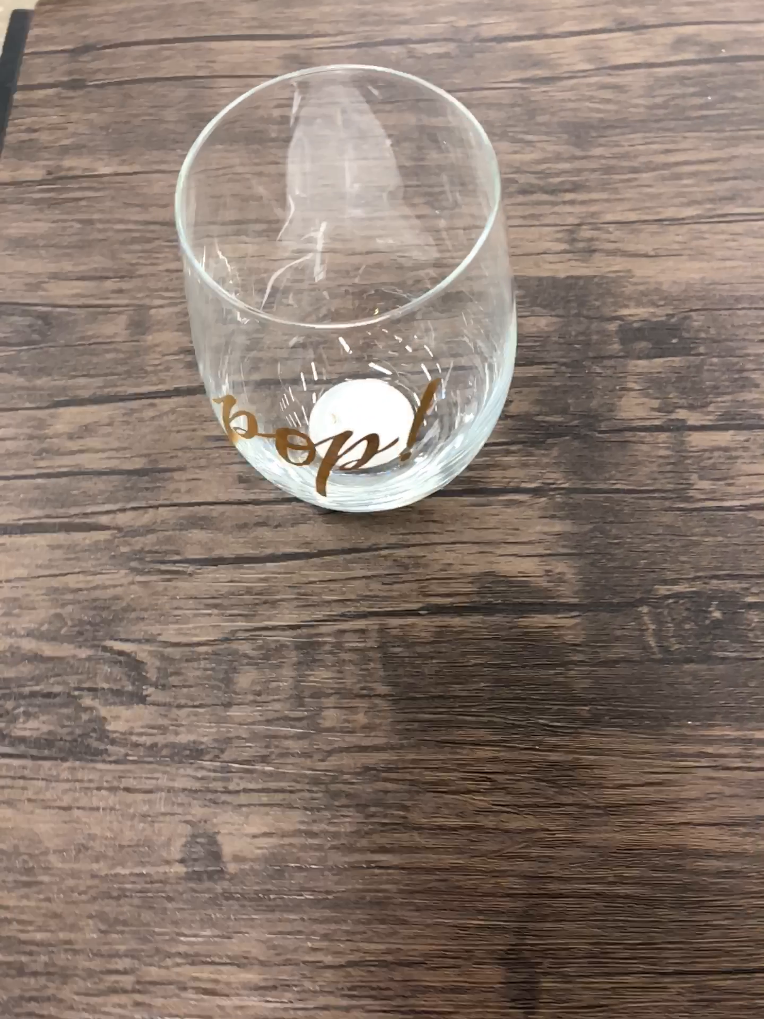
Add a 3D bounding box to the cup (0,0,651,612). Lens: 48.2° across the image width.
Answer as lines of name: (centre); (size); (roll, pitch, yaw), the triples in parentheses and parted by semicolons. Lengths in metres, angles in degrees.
cup: (-0.011, -0.057, 0.242); (0.100, 0.130, 0.100); (-1, 67, 3)
